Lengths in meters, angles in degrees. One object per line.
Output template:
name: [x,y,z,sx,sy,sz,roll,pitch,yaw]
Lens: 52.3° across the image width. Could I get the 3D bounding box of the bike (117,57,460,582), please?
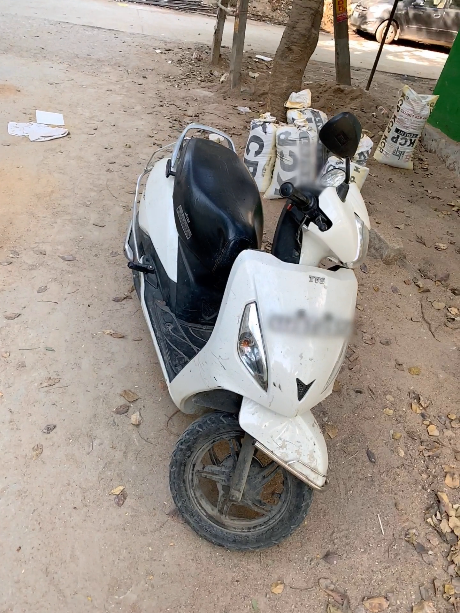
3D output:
bike: [0.123,-0.082,1.734,0.687,1.066,1.465,-7,43,-25]
